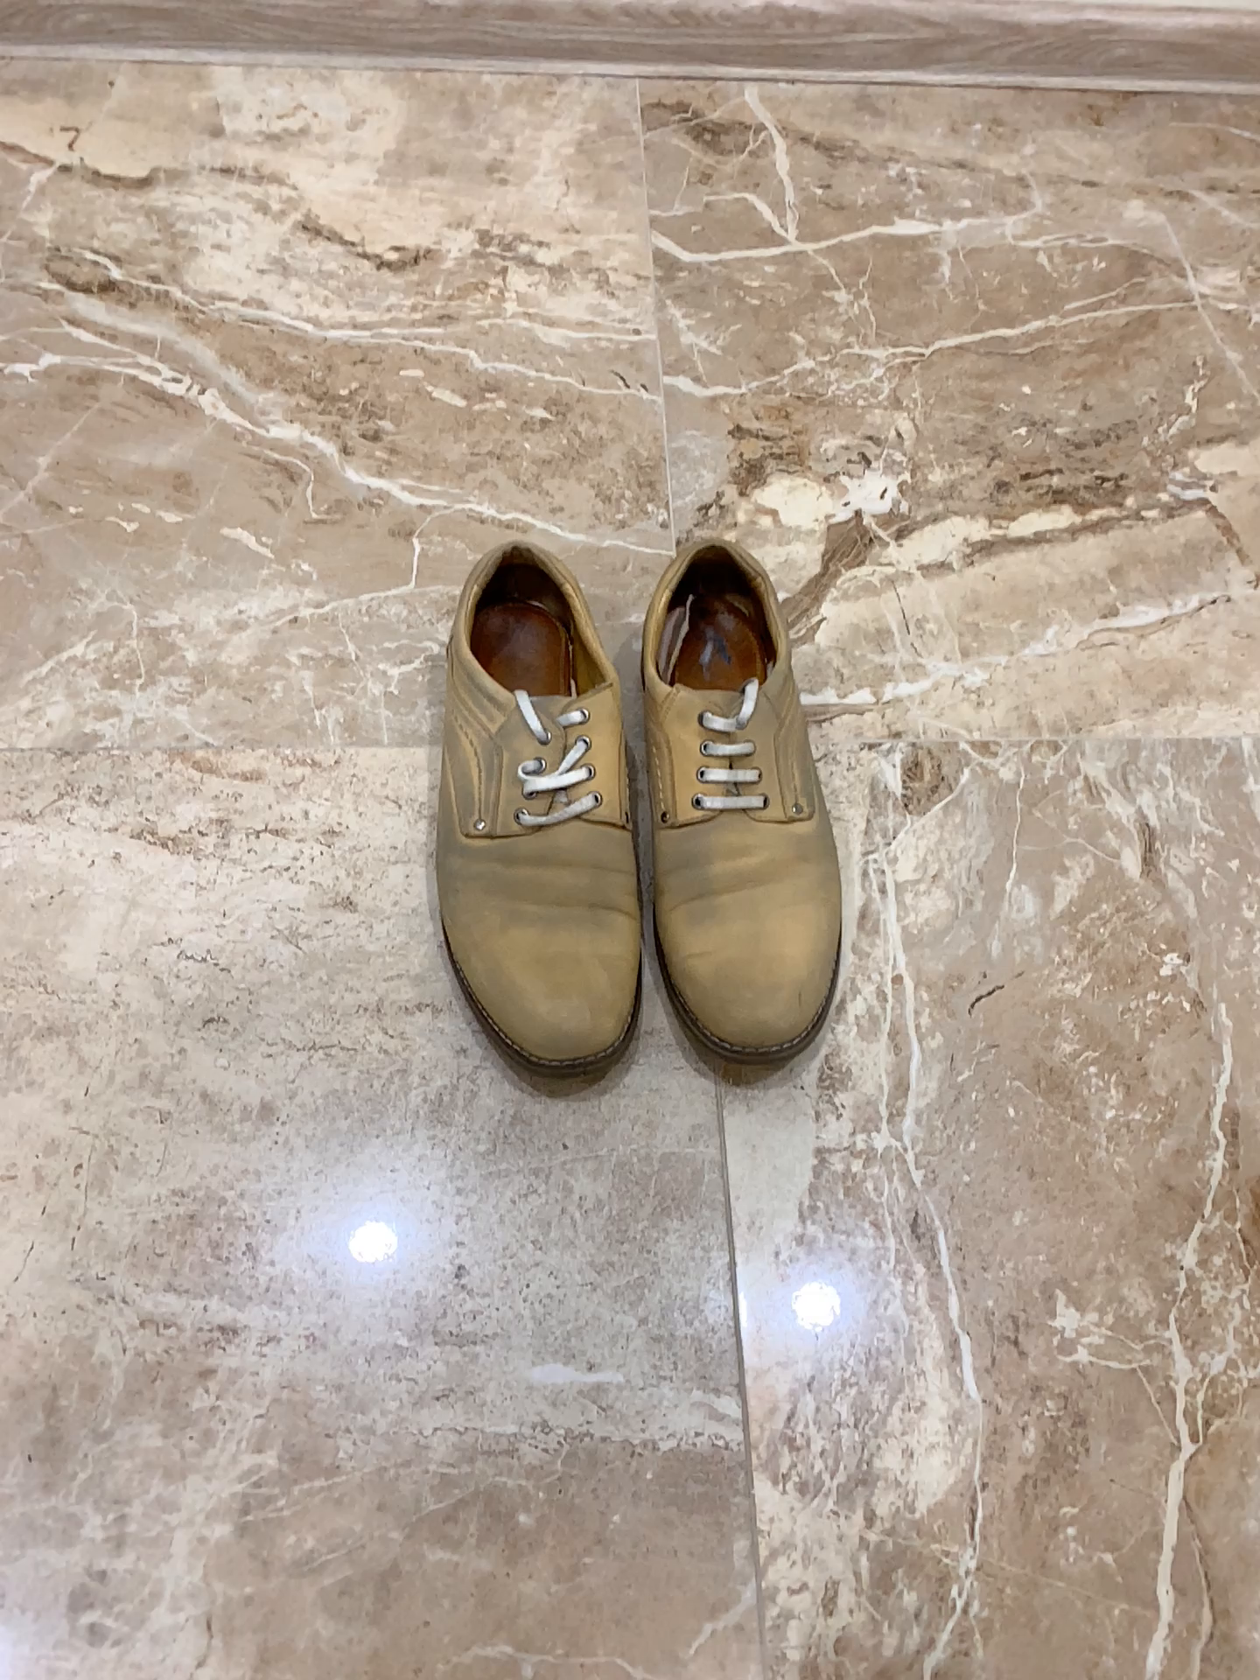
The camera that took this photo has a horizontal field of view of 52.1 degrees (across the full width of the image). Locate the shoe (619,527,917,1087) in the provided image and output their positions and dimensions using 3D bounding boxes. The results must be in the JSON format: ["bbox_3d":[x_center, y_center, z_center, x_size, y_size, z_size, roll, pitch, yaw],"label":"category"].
[{"bbox_3d":[0.061,-0.024,0.657,0.110,0.070,0.281,-2,65,-6],"label":"shoe"}]

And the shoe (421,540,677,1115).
[{"bbox_3d":[-0.047,-0.013,0.651,0.110,0.080,0.281,-2,65,-6],"label":"shoe"}]
